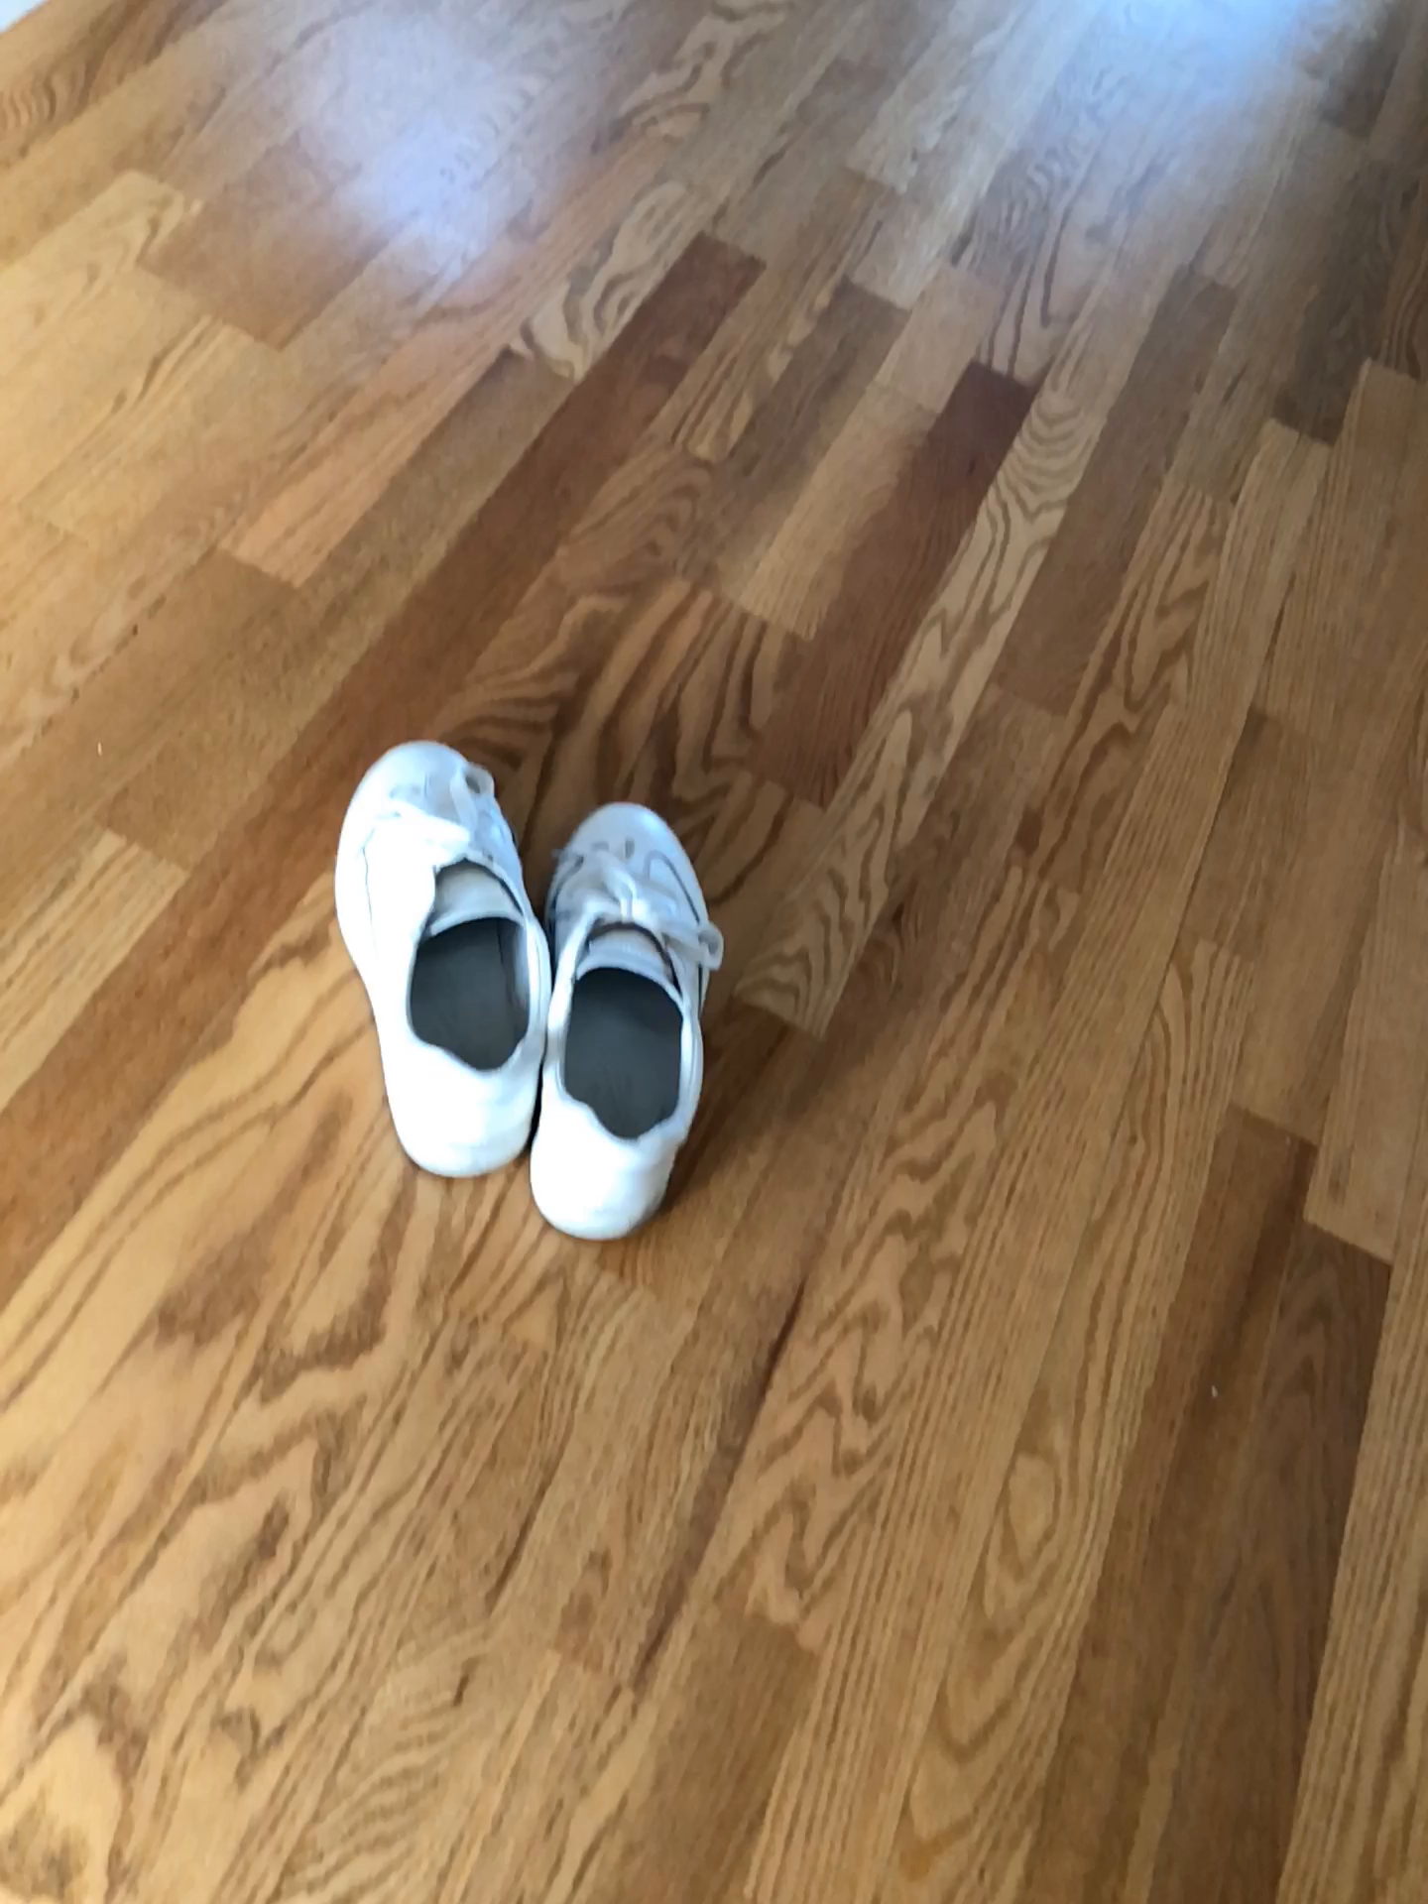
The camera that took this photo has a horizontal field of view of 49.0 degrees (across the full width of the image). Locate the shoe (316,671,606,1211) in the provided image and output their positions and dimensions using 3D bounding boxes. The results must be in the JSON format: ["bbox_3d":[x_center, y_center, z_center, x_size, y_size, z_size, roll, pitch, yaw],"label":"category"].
[{"bbox_3d":[-0.142,-0.011,0.829,0.102,0.104,0.260,-6,62,-18],"label":"shoe"}]

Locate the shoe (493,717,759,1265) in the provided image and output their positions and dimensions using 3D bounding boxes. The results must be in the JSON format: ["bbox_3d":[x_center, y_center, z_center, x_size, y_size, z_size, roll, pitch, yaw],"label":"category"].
[{"bbox_3d":[-0.044,0.018,0.836,0.102,0.106,0.261,10,59,-10],"label":"shoe"}]
